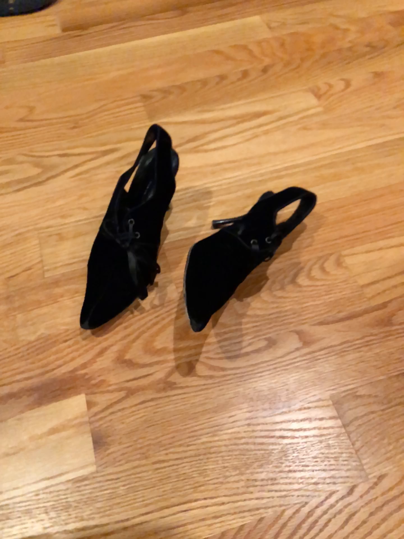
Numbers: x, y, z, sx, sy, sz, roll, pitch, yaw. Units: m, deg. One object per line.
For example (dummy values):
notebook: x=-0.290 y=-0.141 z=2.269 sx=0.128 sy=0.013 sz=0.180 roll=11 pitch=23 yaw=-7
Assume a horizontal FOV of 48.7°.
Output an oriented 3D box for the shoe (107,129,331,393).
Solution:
shoe: x=0.031 y=-0.020 z=0.488 sx=0.118 sy=0.107 sz=0.253 roll=23 pitch=60 yaw=19

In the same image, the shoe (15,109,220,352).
shoe: x=-0.078 y=-0.054 z=0.529 sx=0.107 sy=0.117 sz=0.253 roll=19 pitch=59 yaw=15
